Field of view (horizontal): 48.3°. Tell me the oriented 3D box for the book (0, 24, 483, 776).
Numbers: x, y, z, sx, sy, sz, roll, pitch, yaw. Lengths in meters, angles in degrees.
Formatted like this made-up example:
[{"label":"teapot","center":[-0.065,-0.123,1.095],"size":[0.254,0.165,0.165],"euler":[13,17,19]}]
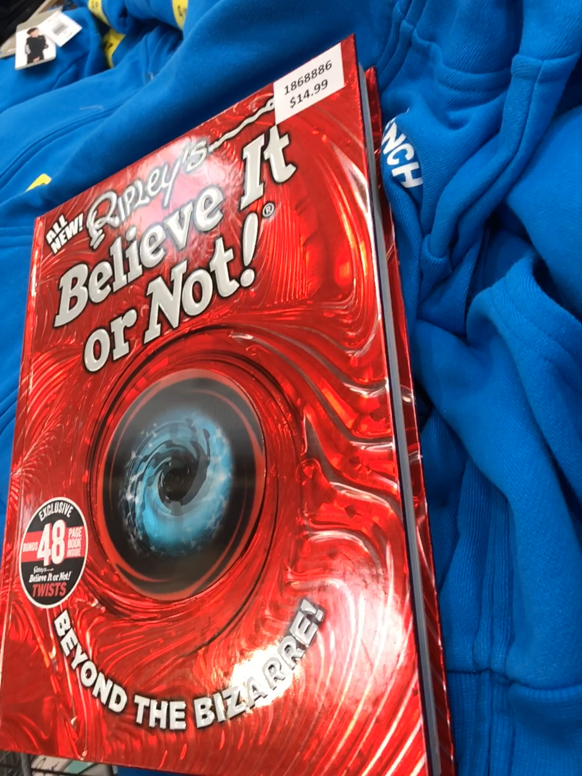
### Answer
[{"label":"book","center":[-0.052,0.012,0.315],"size":[0.245,0.027,0.303],"euler":[-15,68,32]}]
